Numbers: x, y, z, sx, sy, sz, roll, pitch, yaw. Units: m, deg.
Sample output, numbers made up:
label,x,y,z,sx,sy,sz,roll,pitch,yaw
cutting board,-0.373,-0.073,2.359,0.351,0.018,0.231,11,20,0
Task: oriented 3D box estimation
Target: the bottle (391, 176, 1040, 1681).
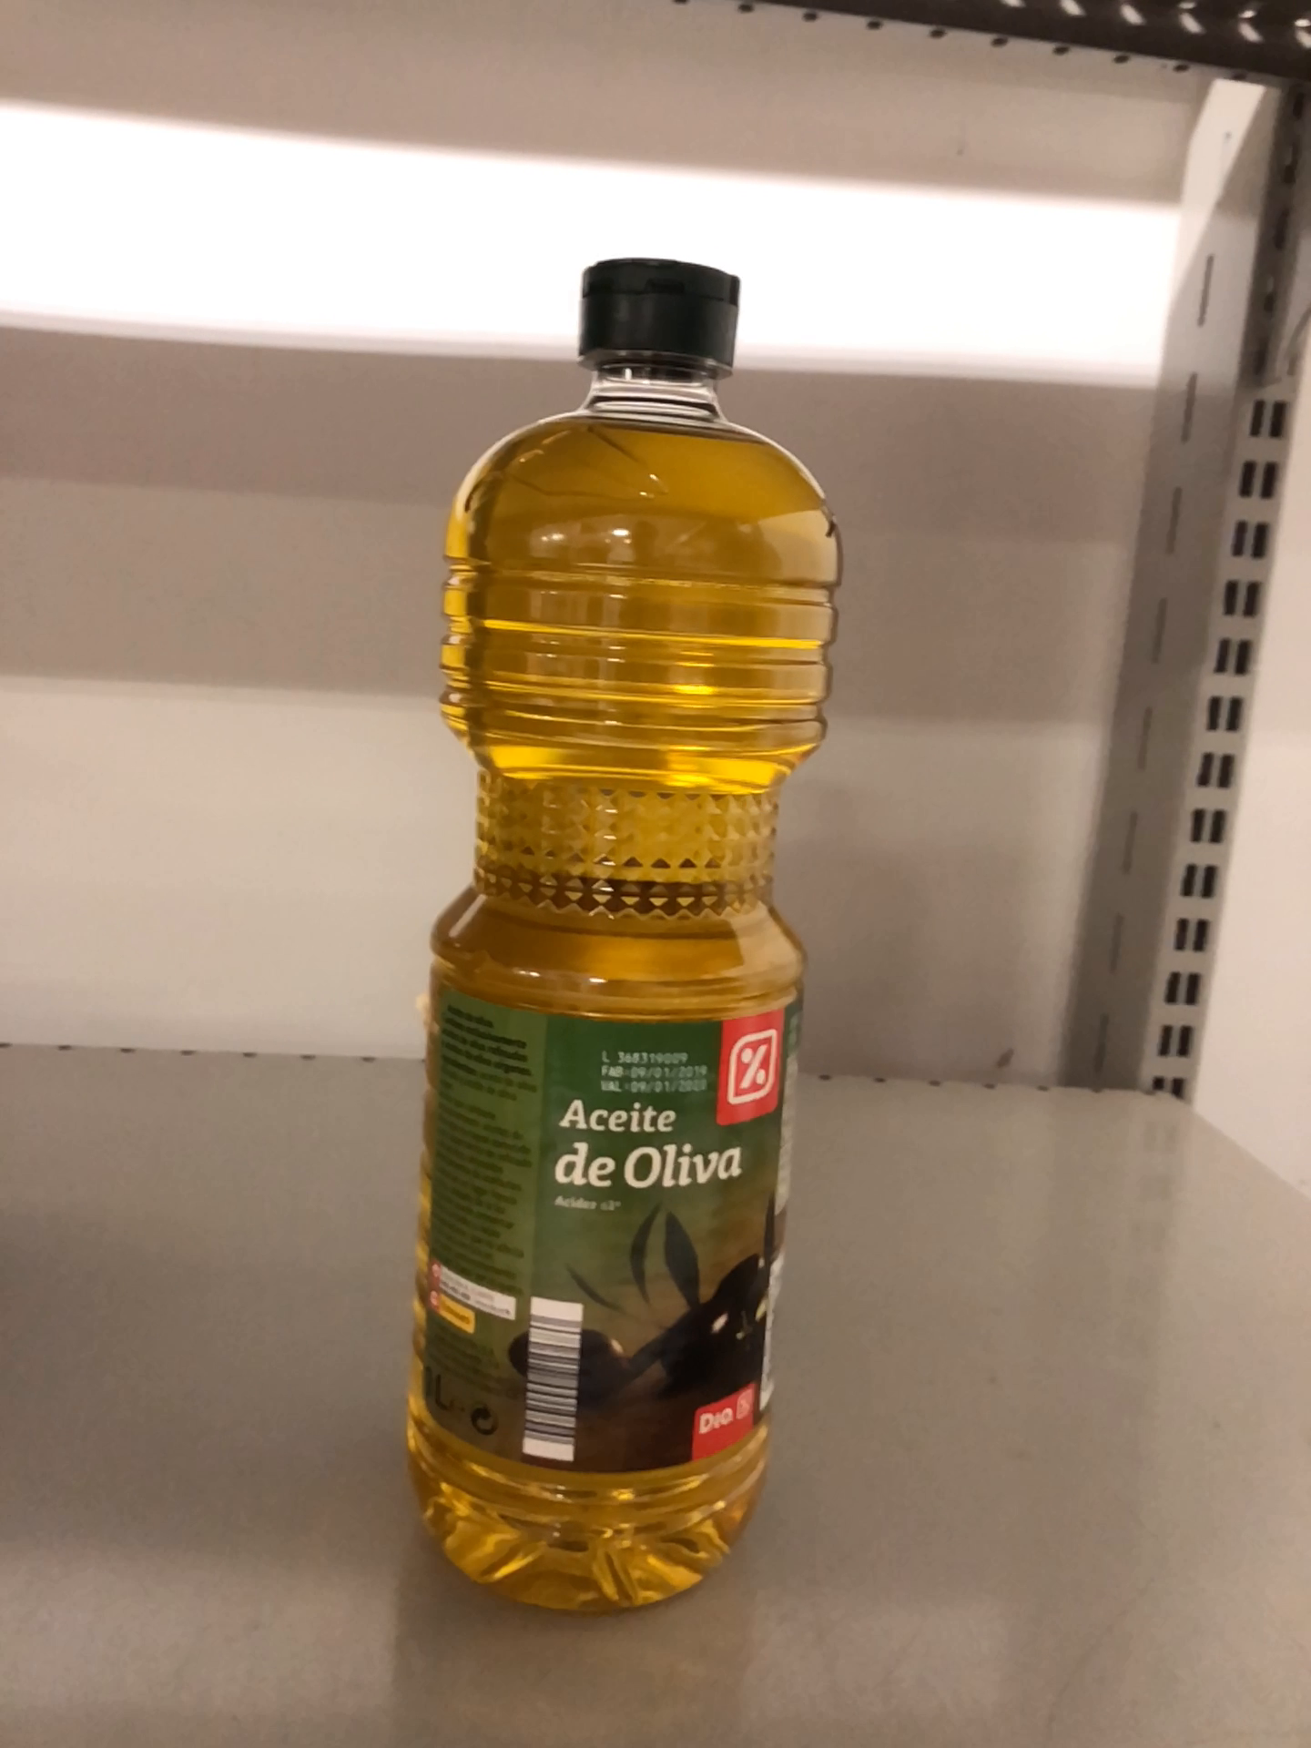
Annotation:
label,x,y,z,sx,sy,sz,roll,pitch,yaw
bottle,0.004,0.014,0.277,0.080,0.249,0.060,1,12,-24
